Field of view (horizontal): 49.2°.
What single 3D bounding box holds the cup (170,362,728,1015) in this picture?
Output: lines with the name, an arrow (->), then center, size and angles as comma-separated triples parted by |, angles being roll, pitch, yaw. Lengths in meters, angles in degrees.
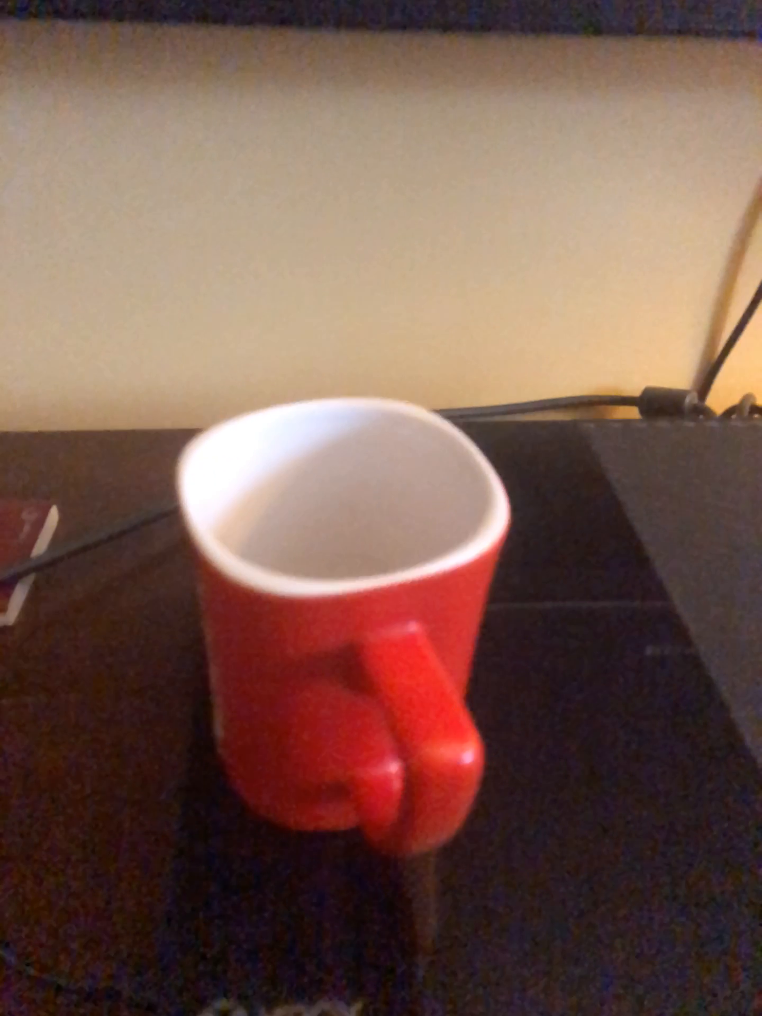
cup -> 0.003, 0.035, 0.203 | 0.080, 0.089, 0.111 | -11, 39, -18
